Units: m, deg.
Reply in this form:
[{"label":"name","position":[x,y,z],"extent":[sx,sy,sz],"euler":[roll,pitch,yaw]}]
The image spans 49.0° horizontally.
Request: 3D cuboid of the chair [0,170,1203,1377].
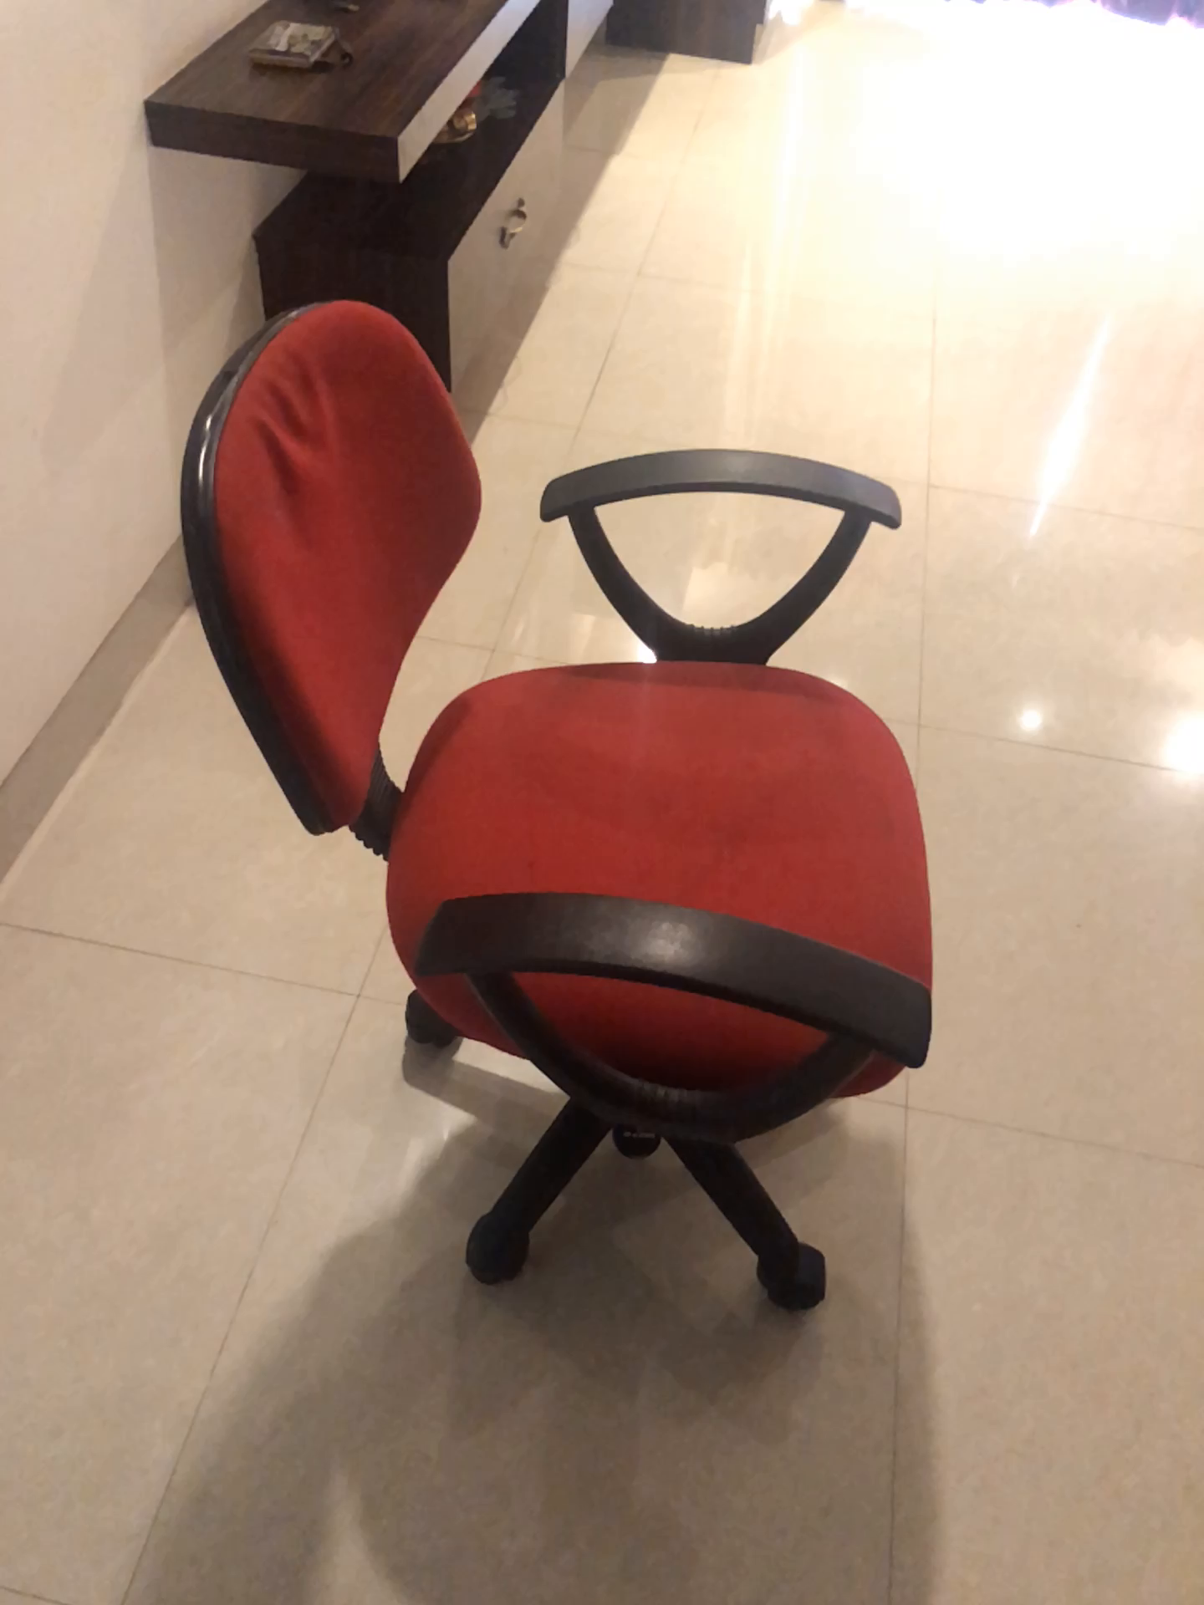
[{"label":"chair","position":[0.012,0.003,1.068],"extent":[0.600,0.725,0.544],"euler":[9,46,3]}]
